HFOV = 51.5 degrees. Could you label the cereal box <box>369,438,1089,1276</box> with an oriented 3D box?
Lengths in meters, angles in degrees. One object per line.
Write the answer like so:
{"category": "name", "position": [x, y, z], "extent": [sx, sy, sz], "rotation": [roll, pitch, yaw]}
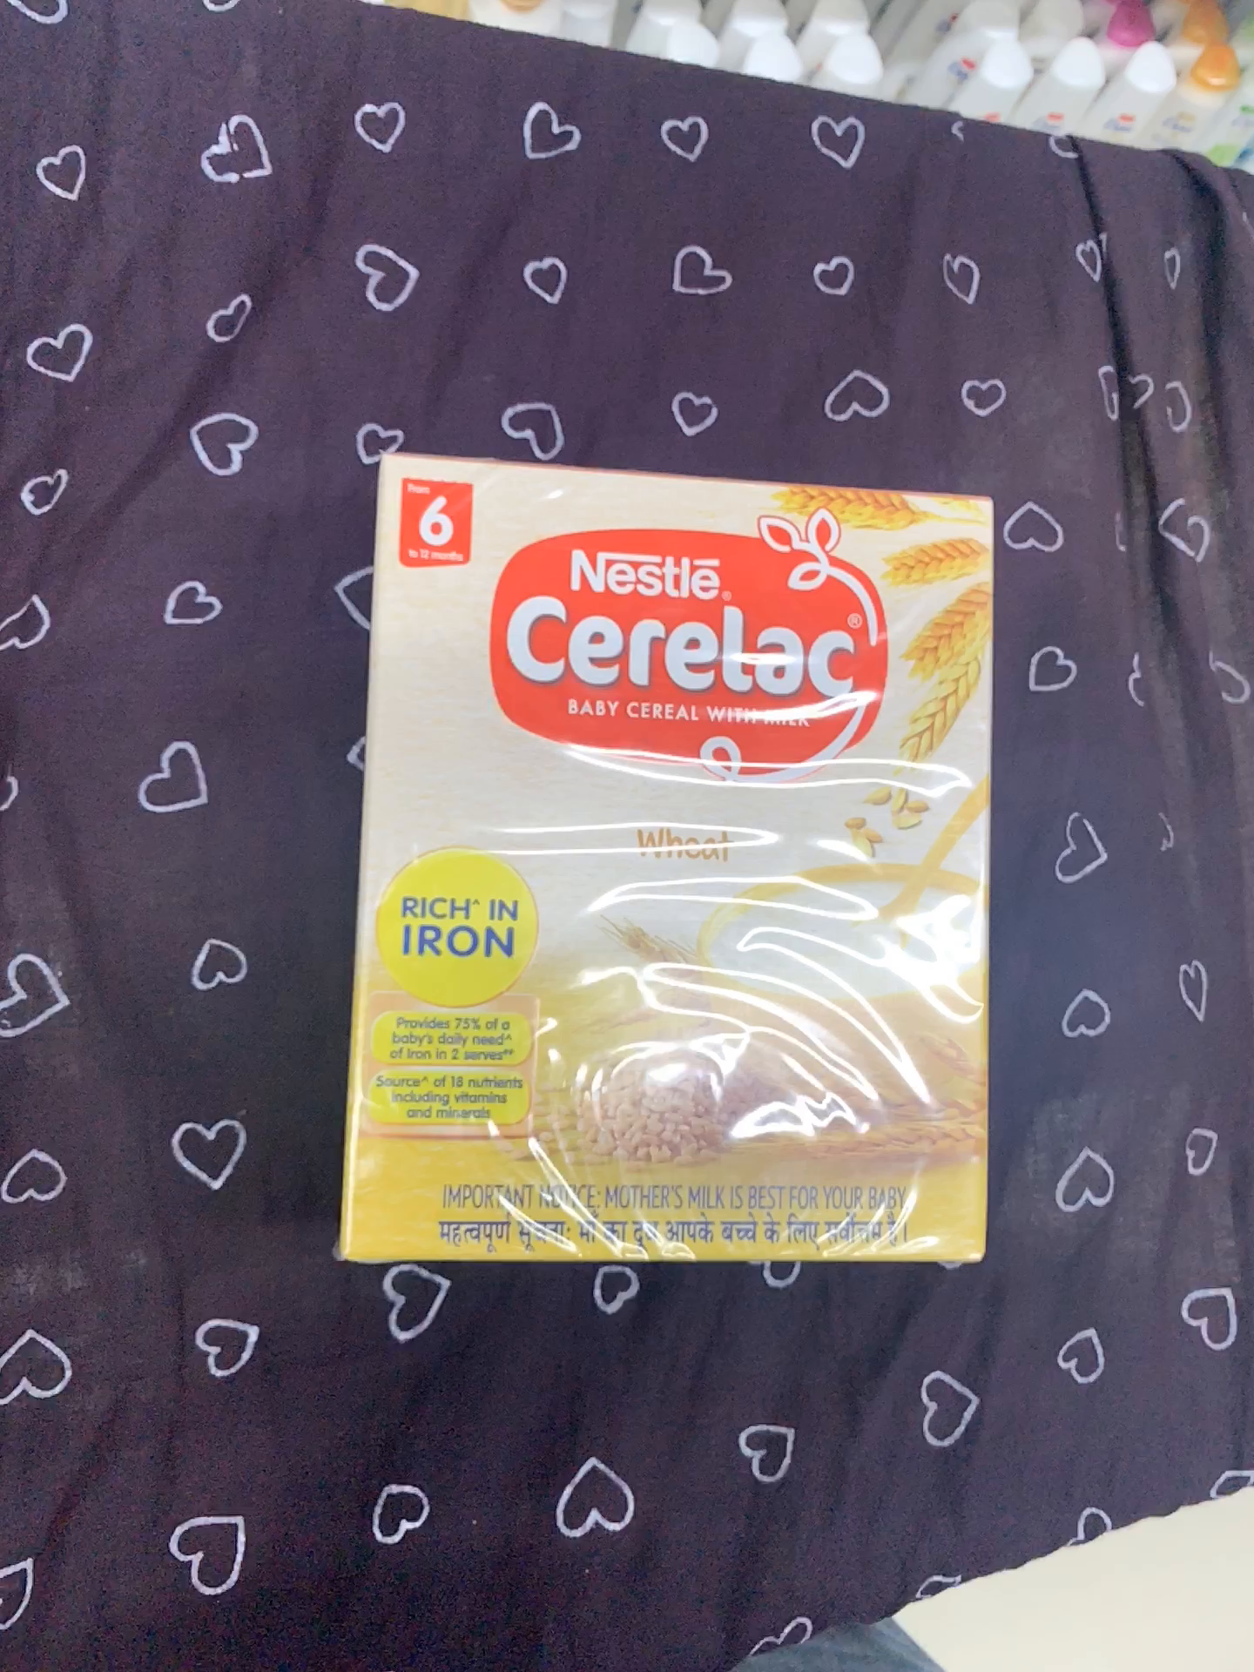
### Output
{"category": "cereal box", "position": [0.022, 0.006, 0.276], "extent": [0.140, 0.040, 0.160], "rotation": [2, 86, -7]}
